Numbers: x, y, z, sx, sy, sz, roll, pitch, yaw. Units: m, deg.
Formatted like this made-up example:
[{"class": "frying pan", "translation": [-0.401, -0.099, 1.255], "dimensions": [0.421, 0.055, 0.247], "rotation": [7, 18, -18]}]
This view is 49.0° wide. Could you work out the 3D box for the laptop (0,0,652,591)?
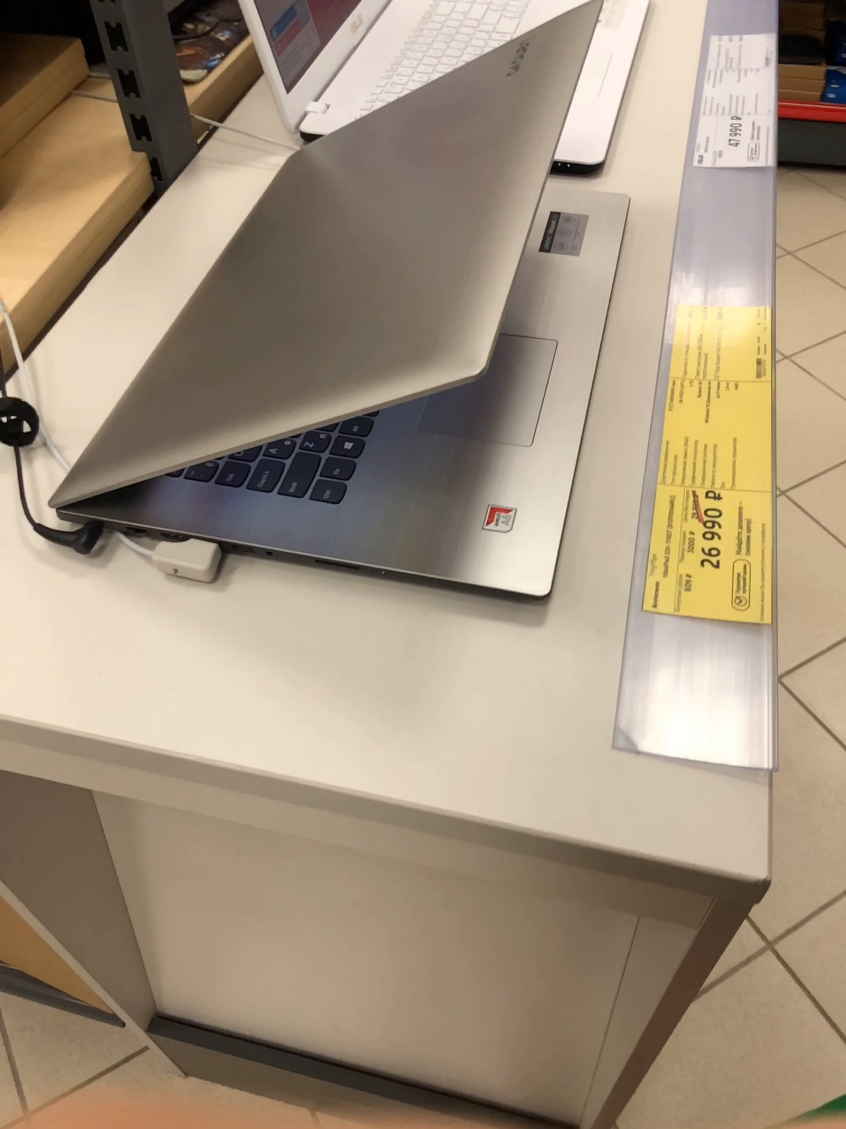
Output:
[{"class": "laptop", "translation": [-0.026, -0.198, 0.567], "dimensions": [0.276, 0.129, 0.399], "rotation": [9, 50, 10]}]
